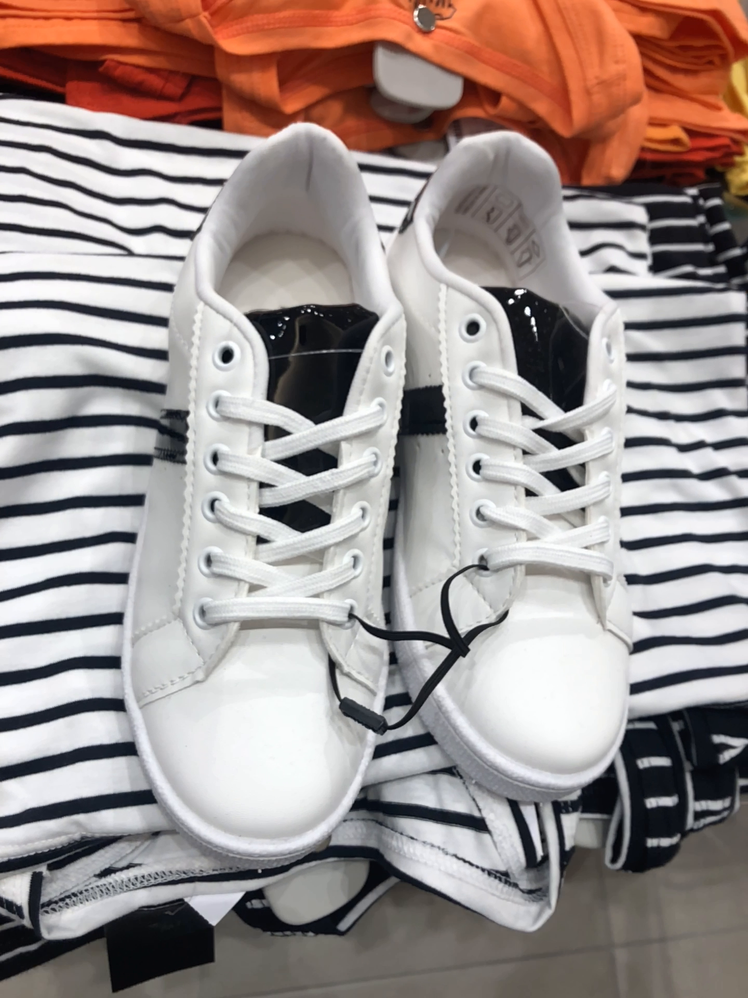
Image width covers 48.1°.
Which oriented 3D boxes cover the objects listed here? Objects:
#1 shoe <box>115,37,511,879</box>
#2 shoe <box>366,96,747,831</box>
[{"bbox_3d":[-0.025,-0.011,0.242,0.080,0.080,0.210,4,69,-18],"label":"shoe"},{"bbox_3d":[0.060,-0.010,0.272,0.090,0.080,0.210,2,70,-19],"label":"shoe"}]
